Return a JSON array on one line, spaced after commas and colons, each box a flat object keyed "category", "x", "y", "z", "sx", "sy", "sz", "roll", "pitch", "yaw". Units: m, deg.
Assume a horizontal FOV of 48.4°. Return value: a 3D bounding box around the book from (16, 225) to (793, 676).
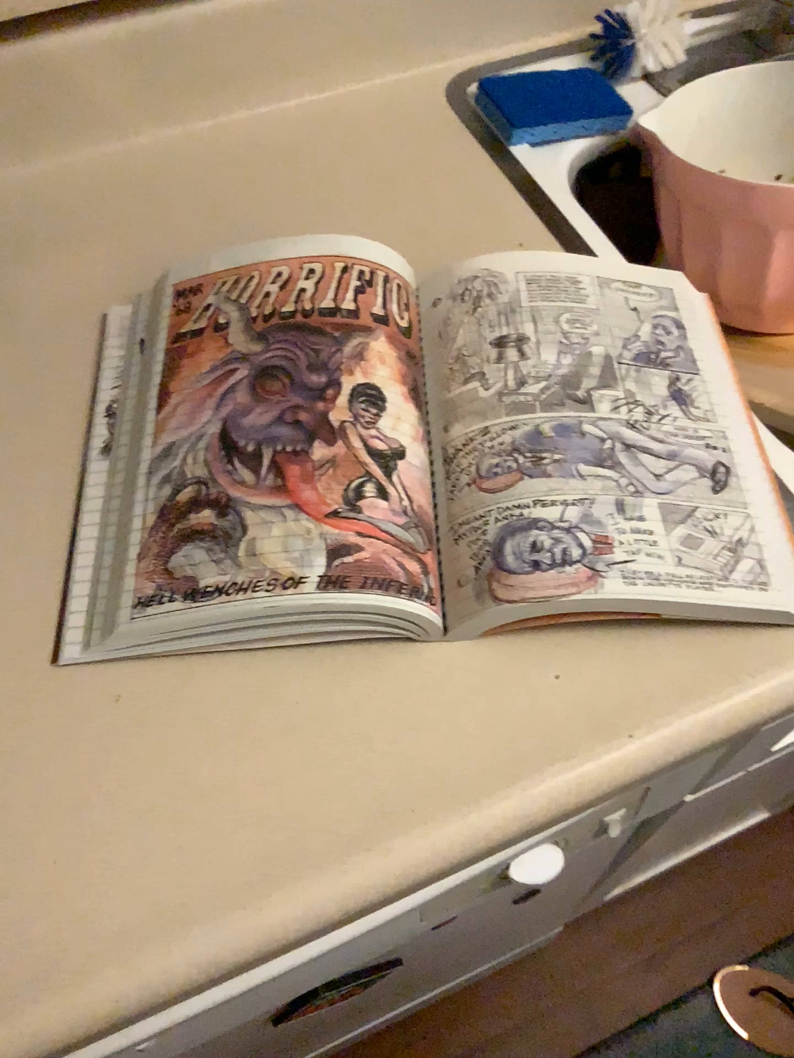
[{"category": "book", "x": 0.022, "y": -0.063, "z": 0.532, "sx": 0.430, "sy": 0.050, "sz": 0.280, "roll": -3, "pitch": 57, "yaw": -2}]
